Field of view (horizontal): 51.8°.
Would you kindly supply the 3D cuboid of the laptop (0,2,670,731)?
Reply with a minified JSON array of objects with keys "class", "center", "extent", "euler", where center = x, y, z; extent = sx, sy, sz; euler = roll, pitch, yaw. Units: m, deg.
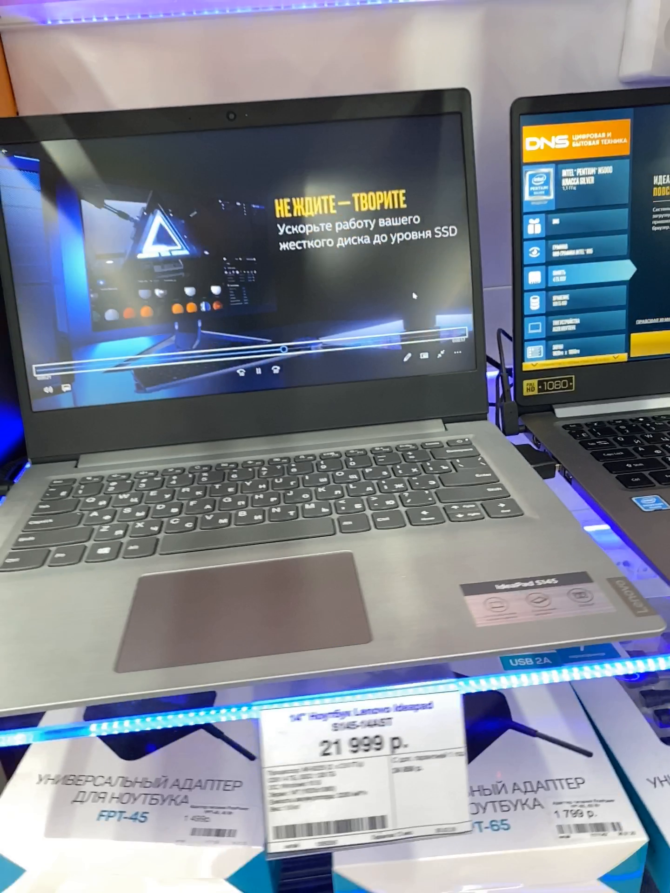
[{"class":"laptop","center":[-0.048,-0.069,0.364],"extent":[0.327,0.215,0.304],"euler":[-6,24,-4]}]
